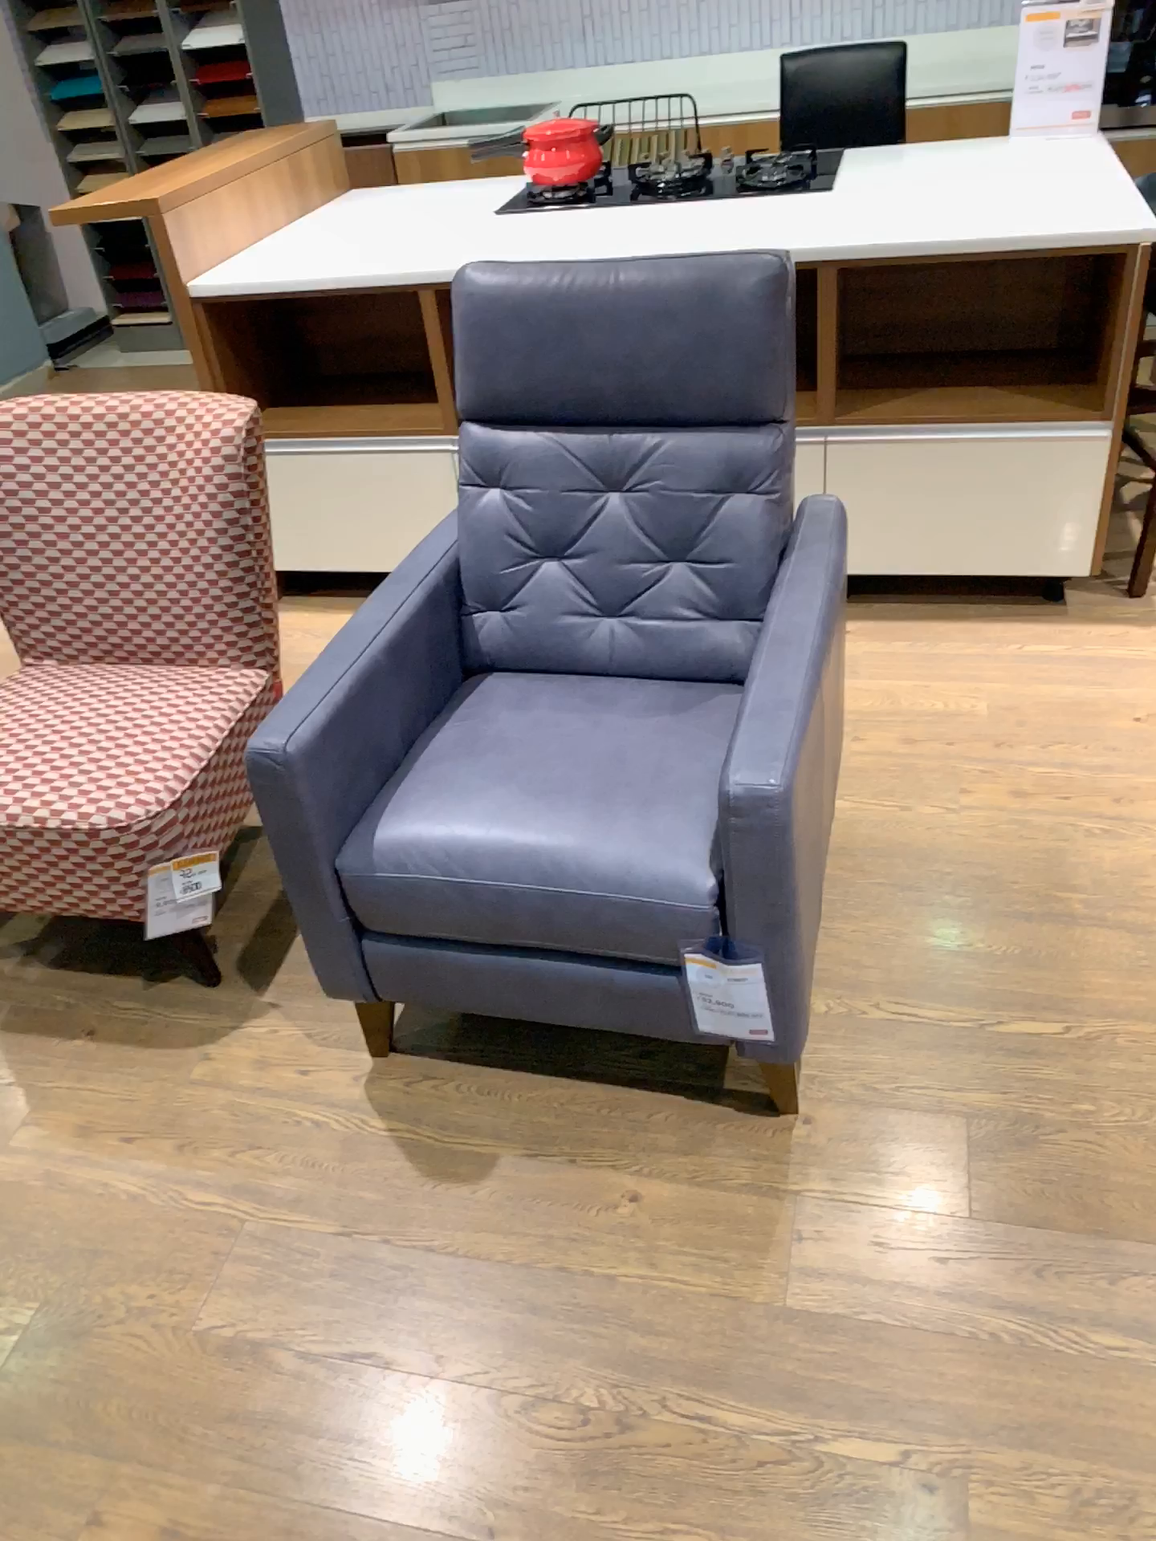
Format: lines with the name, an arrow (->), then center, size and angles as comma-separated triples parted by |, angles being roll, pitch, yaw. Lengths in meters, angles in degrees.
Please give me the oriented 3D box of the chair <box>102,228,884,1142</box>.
chair -> 0.021, -0.162, 1.780 | 0.770, 0.996, 0.853 | 4, 37, 16
